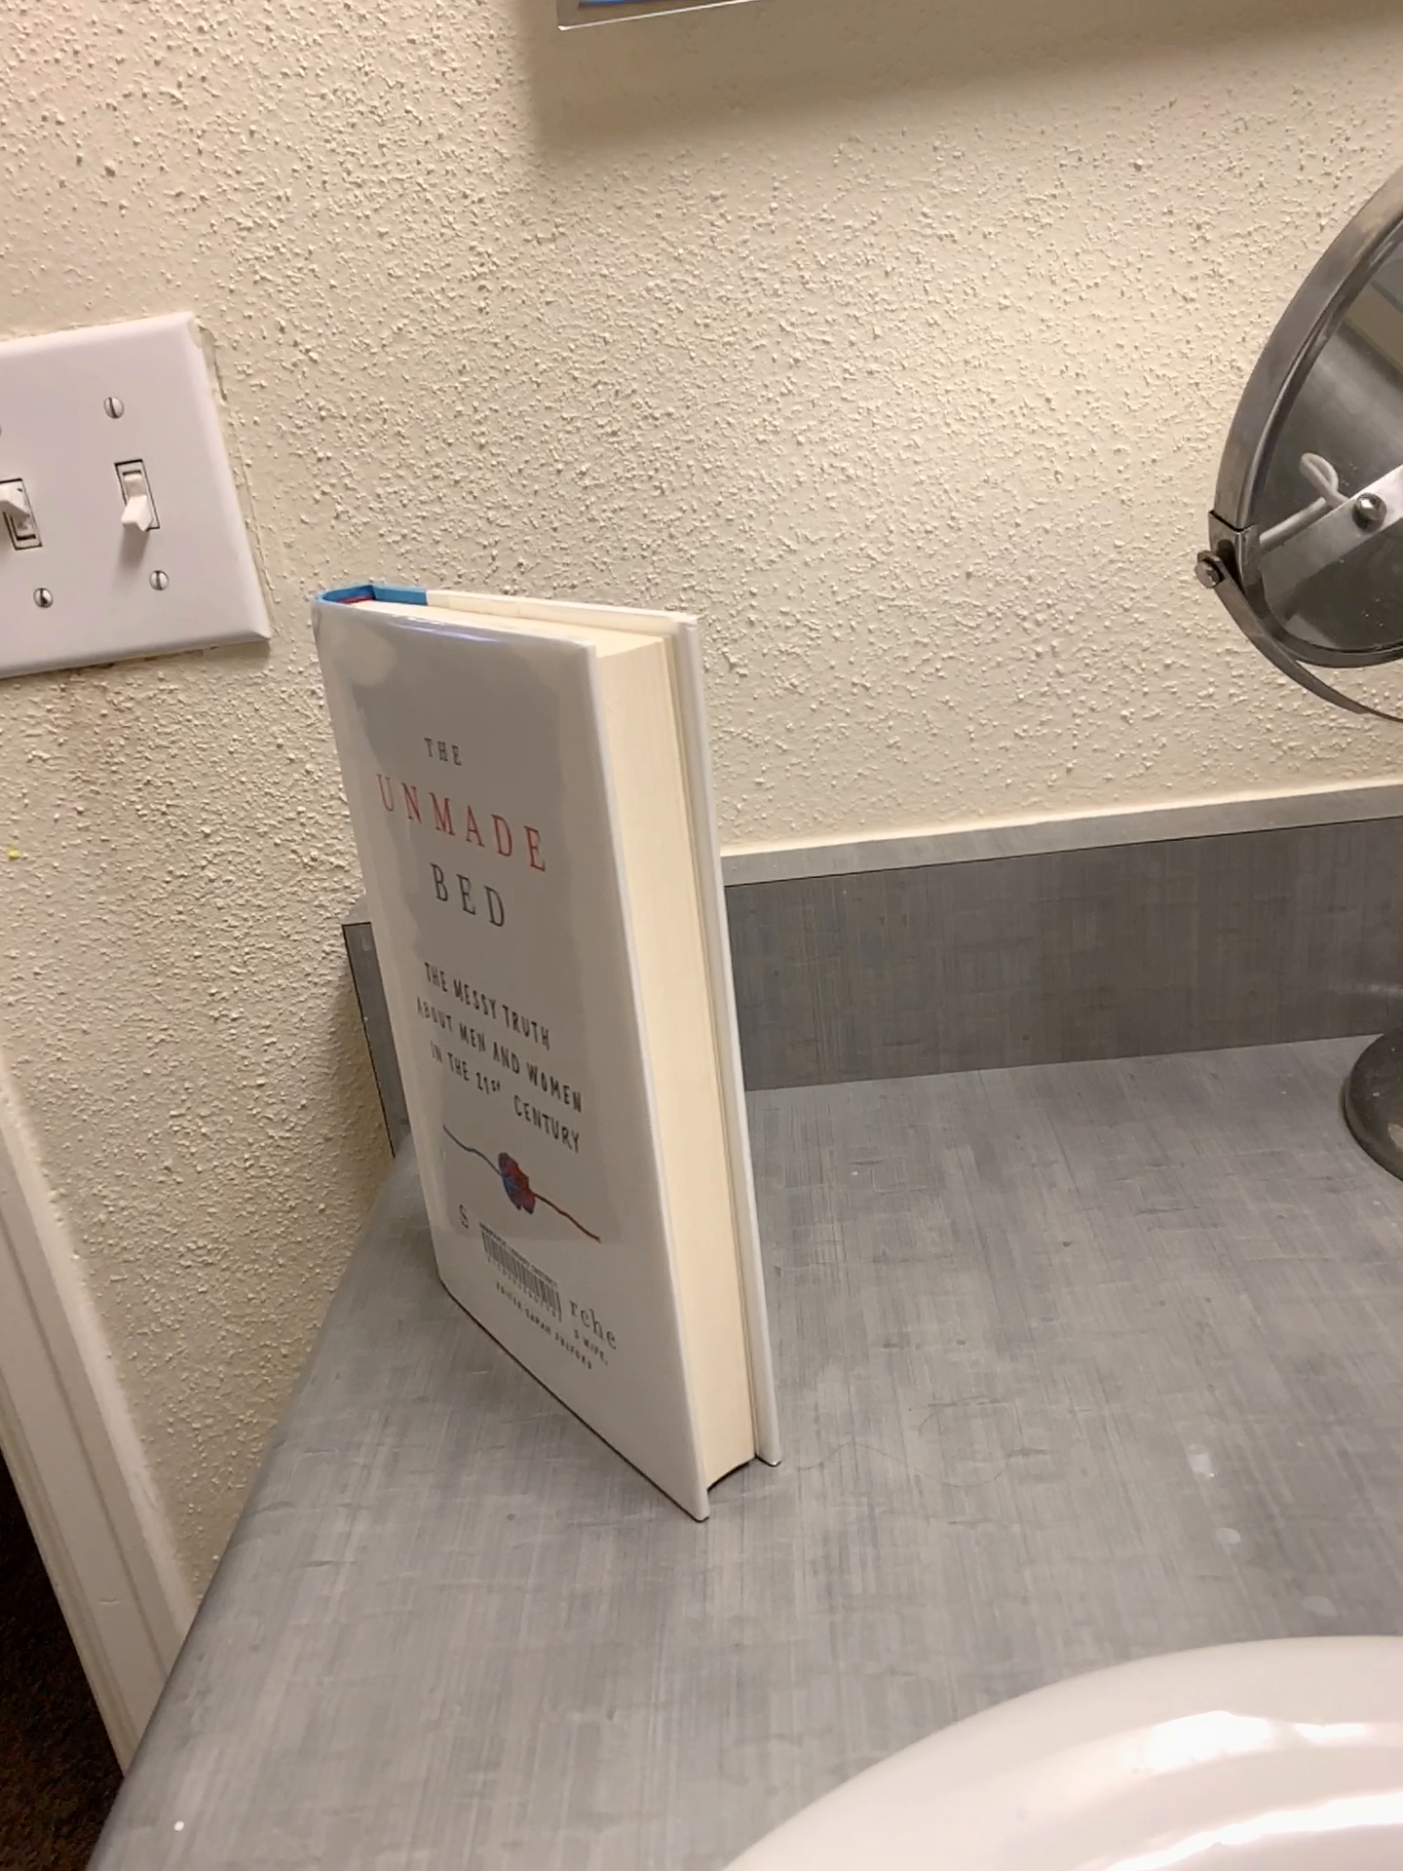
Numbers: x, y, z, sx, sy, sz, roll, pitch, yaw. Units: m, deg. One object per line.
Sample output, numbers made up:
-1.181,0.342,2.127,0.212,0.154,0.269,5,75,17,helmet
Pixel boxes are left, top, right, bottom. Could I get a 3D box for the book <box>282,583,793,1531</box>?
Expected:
-0.046,0.022,0.380,0.033,0.214,0.152,-19,24,-32,book
